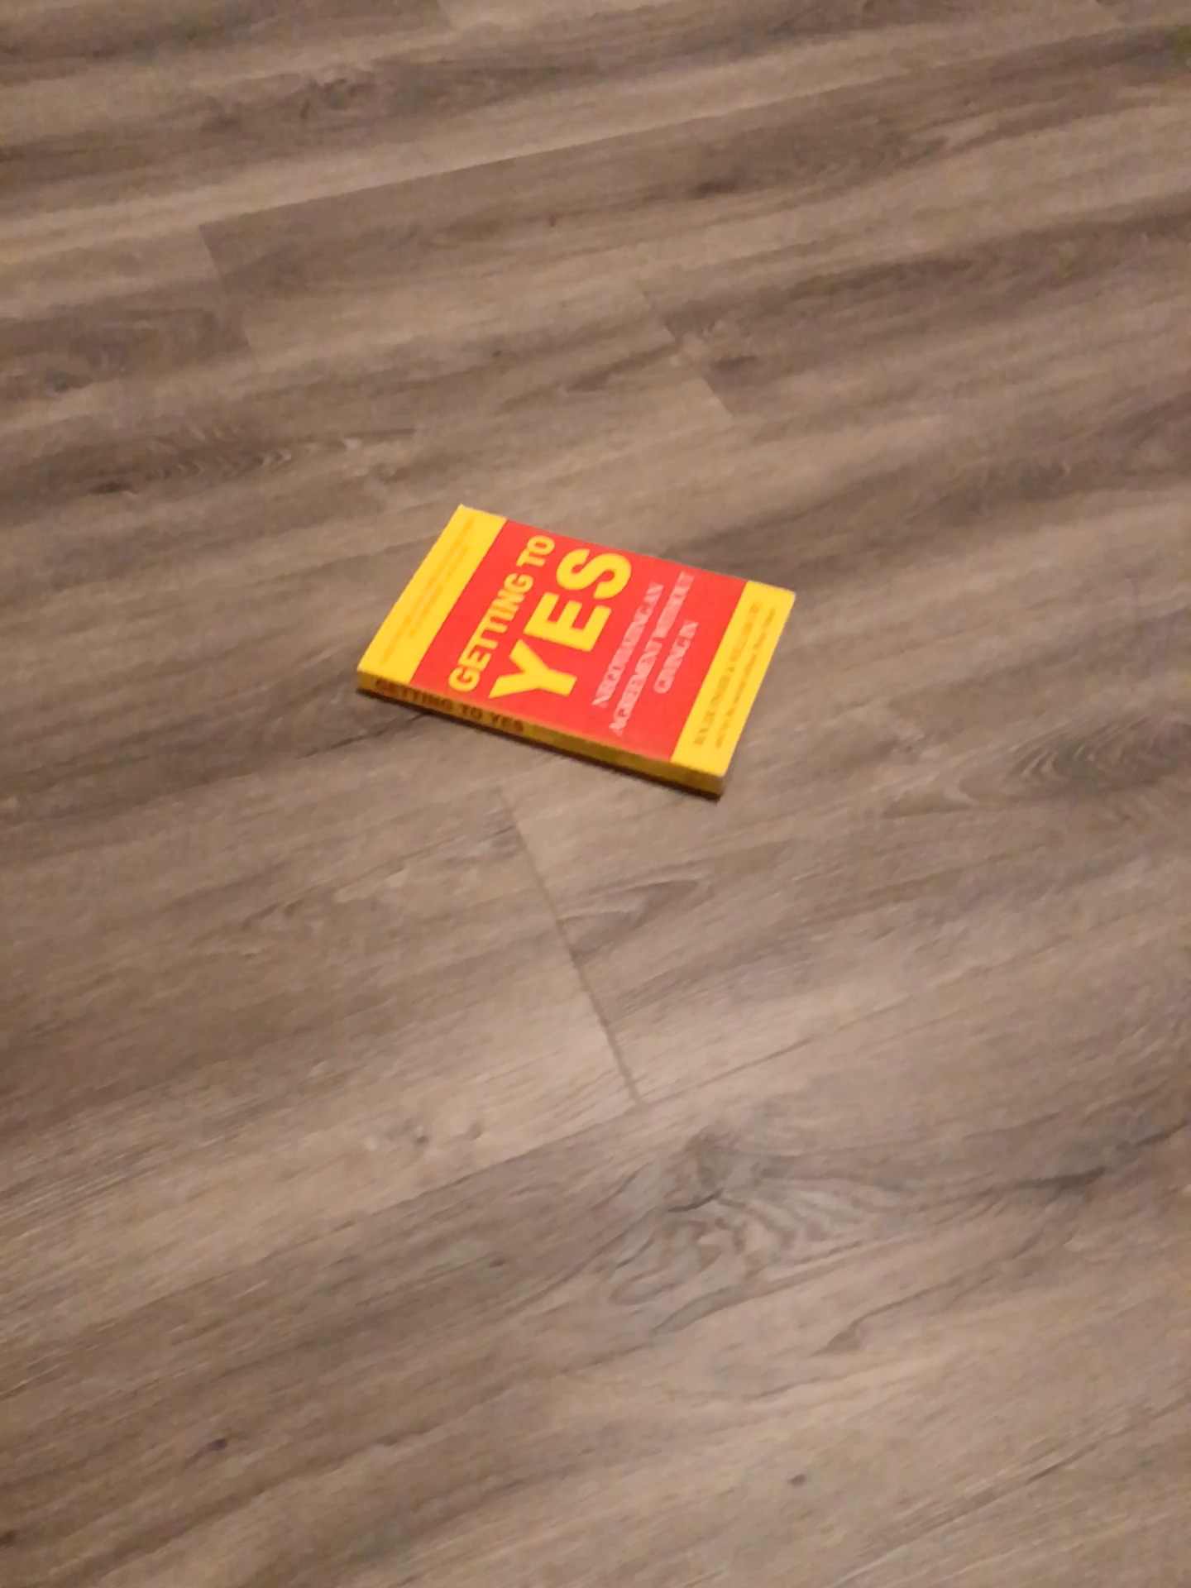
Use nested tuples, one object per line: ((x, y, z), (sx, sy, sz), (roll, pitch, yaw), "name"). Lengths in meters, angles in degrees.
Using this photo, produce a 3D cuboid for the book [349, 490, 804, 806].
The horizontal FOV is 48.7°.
((-0.006, -0.078, 0.657), (0.190, 0.026, 0.130), (16, 56, 11), "book")
